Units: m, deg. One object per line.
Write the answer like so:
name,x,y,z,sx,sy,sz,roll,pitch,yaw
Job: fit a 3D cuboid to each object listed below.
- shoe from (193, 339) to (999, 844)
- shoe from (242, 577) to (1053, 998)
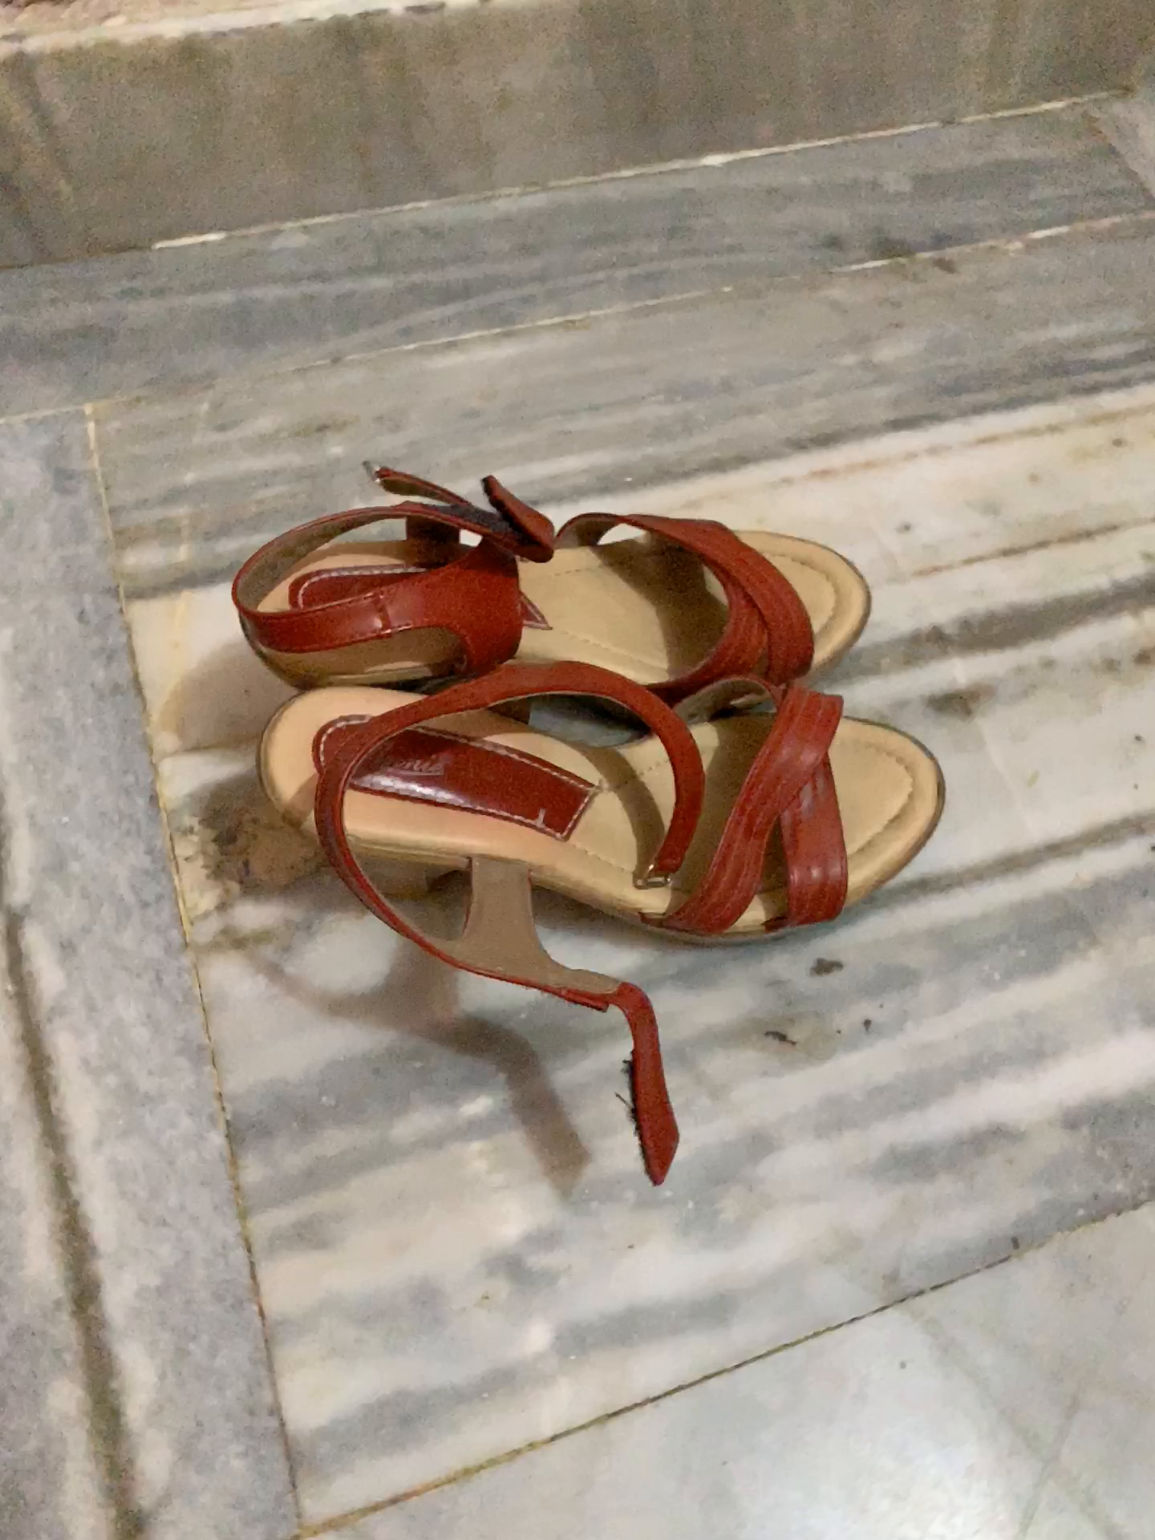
shoe,0.002,-0.064,0.422,0.240,0.100,0.100,-11,62,-11
shoe,0.016,0.007,0.415,0.240,0.100,0.100,-3,61,-6
